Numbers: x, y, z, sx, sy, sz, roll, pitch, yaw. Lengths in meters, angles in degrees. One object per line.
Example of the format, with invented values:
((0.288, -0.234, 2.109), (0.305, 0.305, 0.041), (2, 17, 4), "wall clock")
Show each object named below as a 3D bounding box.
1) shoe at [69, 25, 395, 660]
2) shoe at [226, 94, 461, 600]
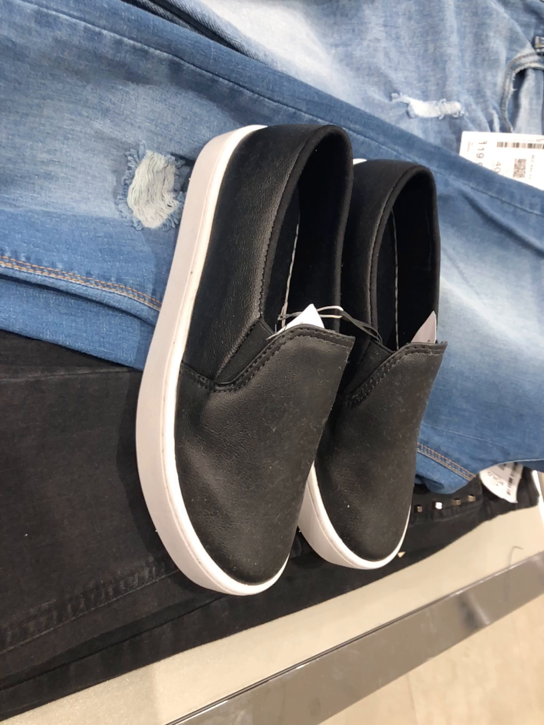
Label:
((-0.019, -0.007, 0.319), (0.111, 0.099, 0.260), (9, 85, -40), "shoe")
((0.046, -0.009, 0.384), (0.111, 0.099, 0.260), (-1, 91, -42), "shoe")
